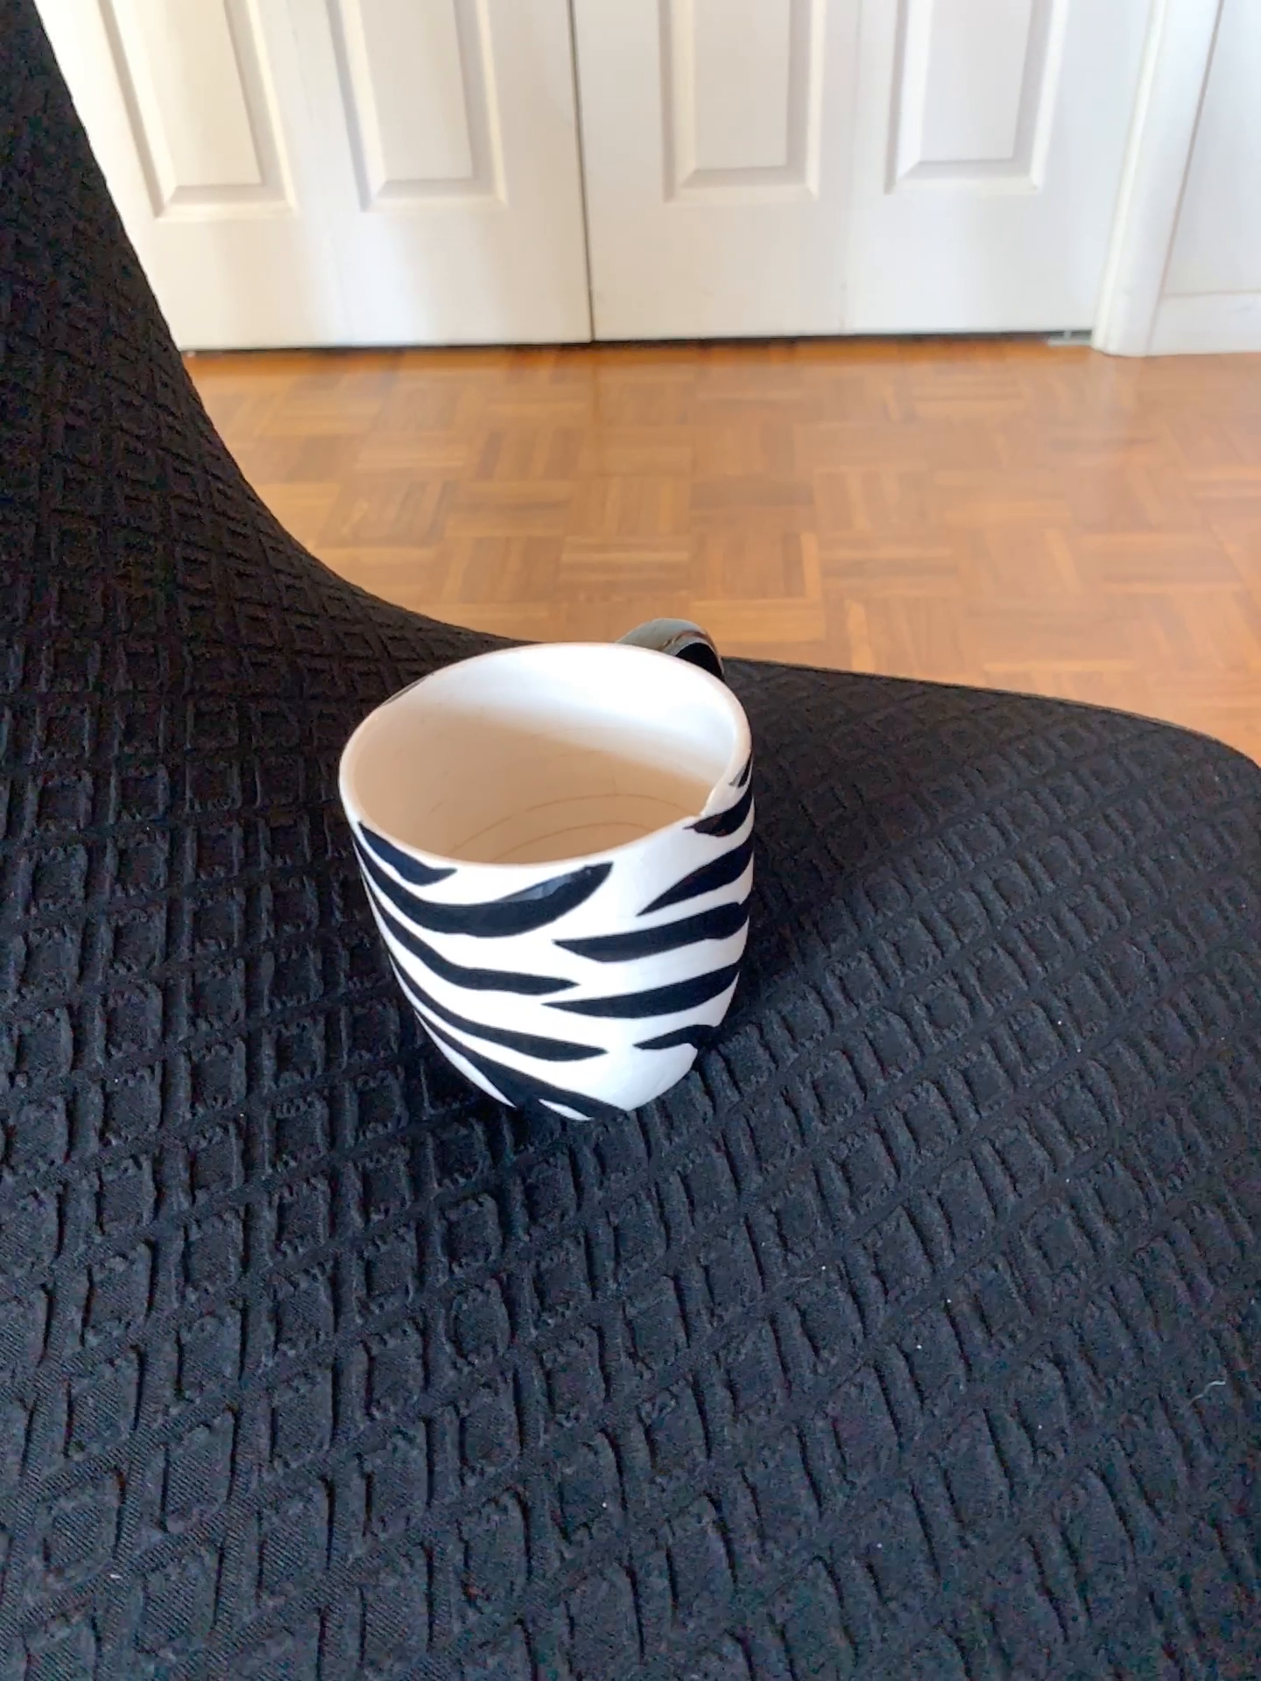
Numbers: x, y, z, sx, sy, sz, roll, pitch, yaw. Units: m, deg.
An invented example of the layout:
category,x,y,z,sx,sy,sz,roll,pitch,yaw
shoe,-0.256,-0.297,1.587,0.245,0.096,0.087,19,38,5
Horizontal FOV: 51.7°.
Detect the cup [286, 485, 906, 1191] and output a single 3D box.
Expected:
category,x,y,z,sx,sy,sz,roll,pitch,yaw
cup,0.002,-0.009,0.320,0.080,0.090,0.141,18,45,23
